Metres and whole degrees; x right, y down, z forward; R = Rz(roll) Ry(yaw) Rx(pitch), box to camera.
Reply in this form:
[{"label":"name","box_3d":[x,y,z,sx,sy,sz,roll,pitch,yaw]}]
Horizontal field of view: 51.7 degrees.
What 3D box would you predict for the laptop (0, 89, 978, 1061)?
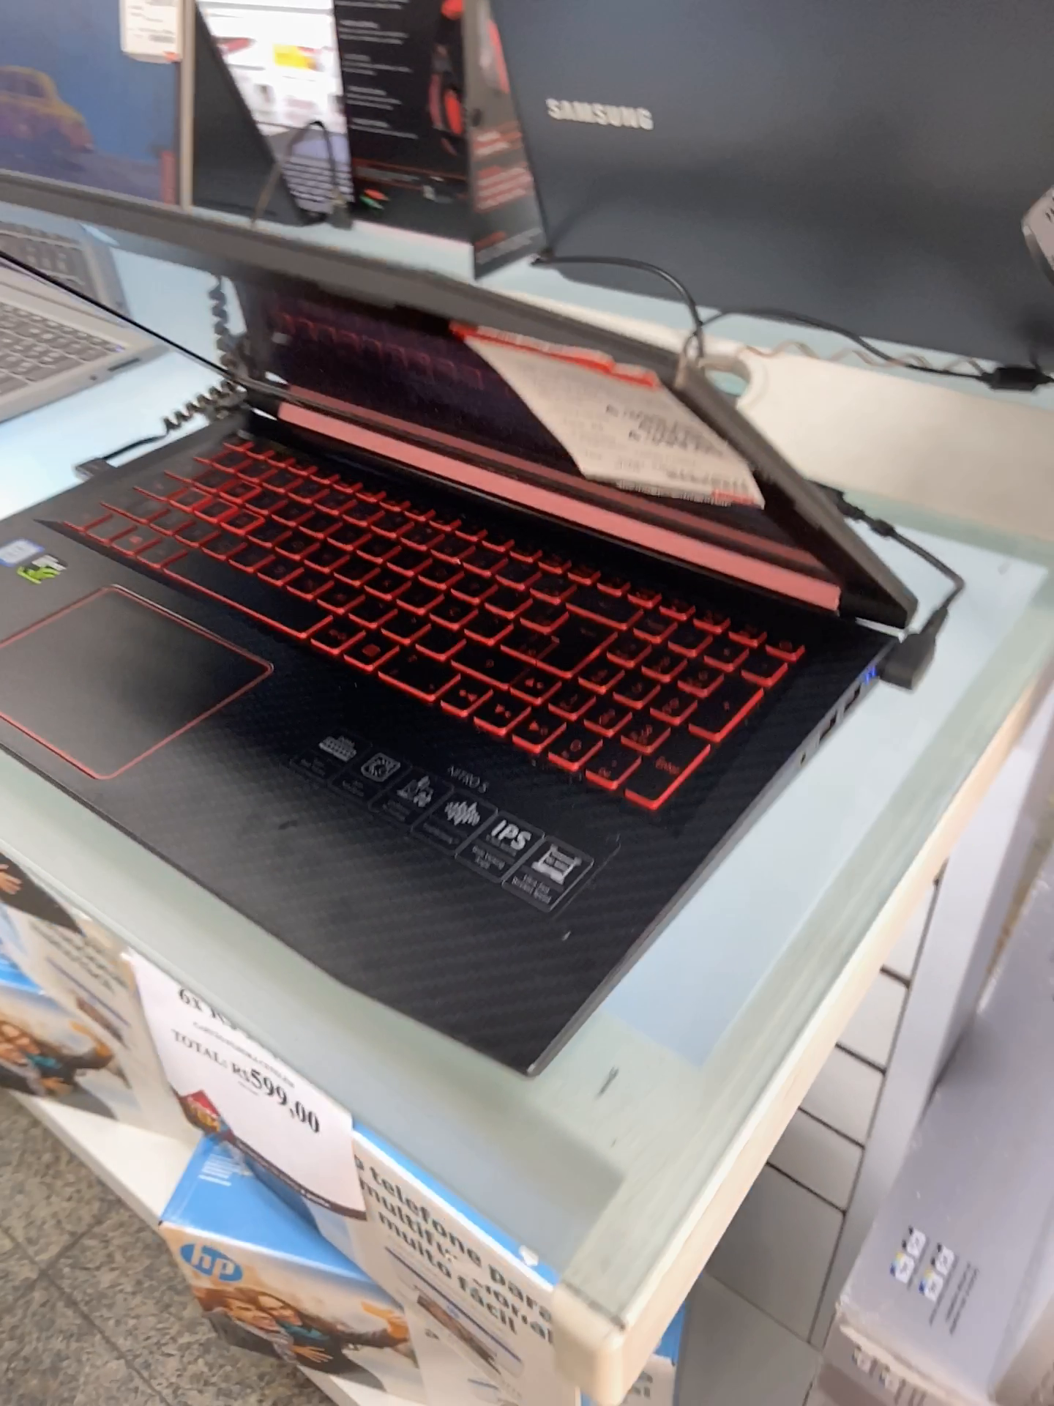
[{"label":"laptop","box_3d":[-0.083,-0.099,0.398,0.380,0.163,0.235,24,46,31]}]
